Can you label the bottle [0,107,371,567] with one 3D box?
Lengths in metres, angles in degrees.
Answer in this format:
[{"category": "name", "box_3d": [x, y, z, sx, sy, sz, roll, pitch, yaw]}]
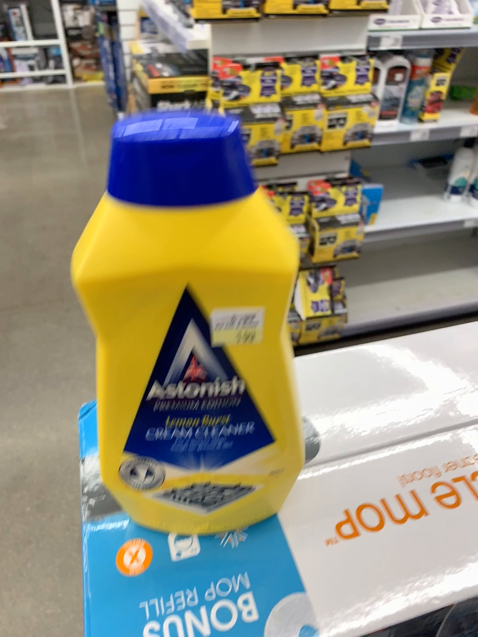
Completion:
[{"category": "bottle", "box_3d": [-0.020, 0.022, 0.204, 0.100, 0.189, 0.060, -3, 38, -5]}]
